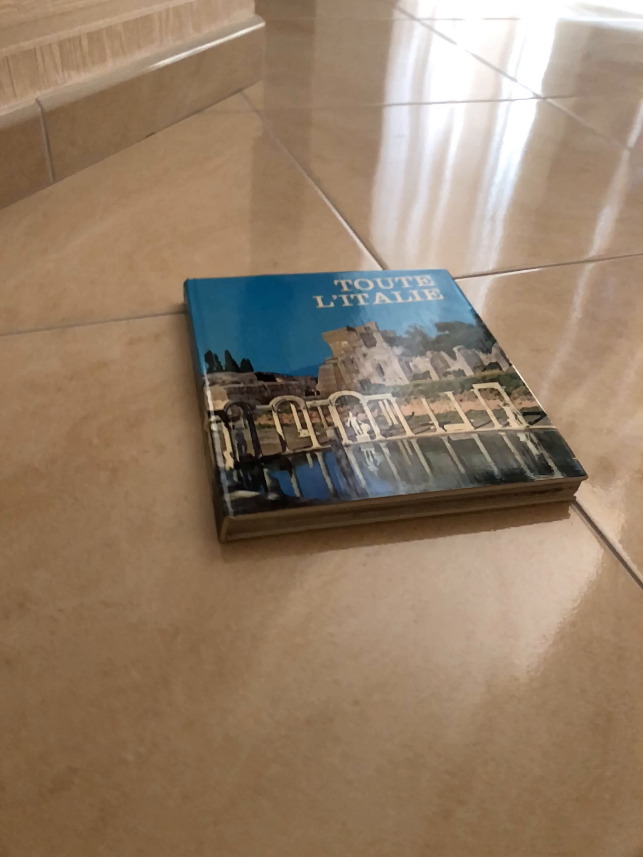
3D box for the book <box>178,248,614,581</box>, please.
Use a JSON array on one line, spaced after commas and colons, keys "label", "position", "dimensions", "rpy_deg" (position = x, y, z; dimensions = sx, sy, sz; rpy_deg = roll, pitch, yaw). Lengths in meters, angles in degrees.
[{"label": "book", "position": [0.028, -0.037, 0.528], "dimensions": [0.240, 0.050, 0.291], "rpy_deg": [-5, 43, -13]}]
